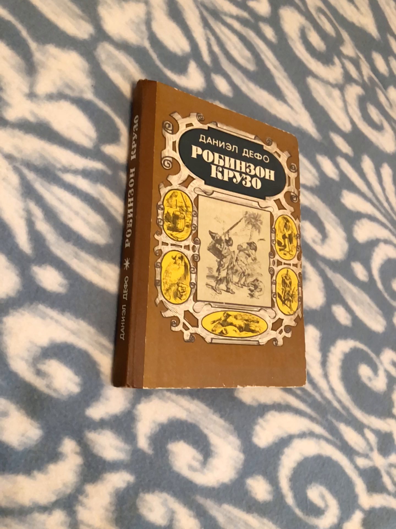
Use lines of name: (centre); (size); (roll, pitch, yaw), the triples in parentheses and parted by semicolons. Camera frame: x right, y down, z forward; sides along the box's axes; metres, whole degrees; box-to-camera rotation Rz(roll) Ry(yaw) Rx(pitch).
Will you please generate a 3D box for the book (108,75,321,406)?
book: (0.024, -0.013, 0.364); (0.179, 0.024, 0.242); (9, 75, -30)
